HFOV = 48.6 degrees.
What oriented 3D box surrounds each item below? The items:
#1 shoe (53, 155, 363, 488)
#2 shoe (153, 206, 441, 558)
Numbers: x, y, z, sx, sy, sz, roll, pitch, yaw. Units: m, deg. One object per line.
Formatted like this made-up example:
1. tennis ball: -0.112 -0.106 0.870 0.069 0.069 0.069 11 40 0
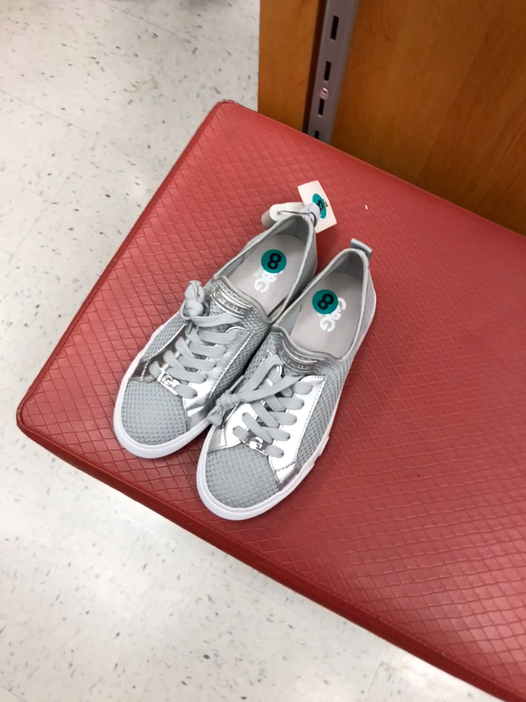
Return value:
1. shoe: -0.038 -0.025 0.515 0.106 0.097 0.268 36 75 9
2. shoe: 0.033 0.026 0.500 0.106 0.096 0.268 30 74 8
